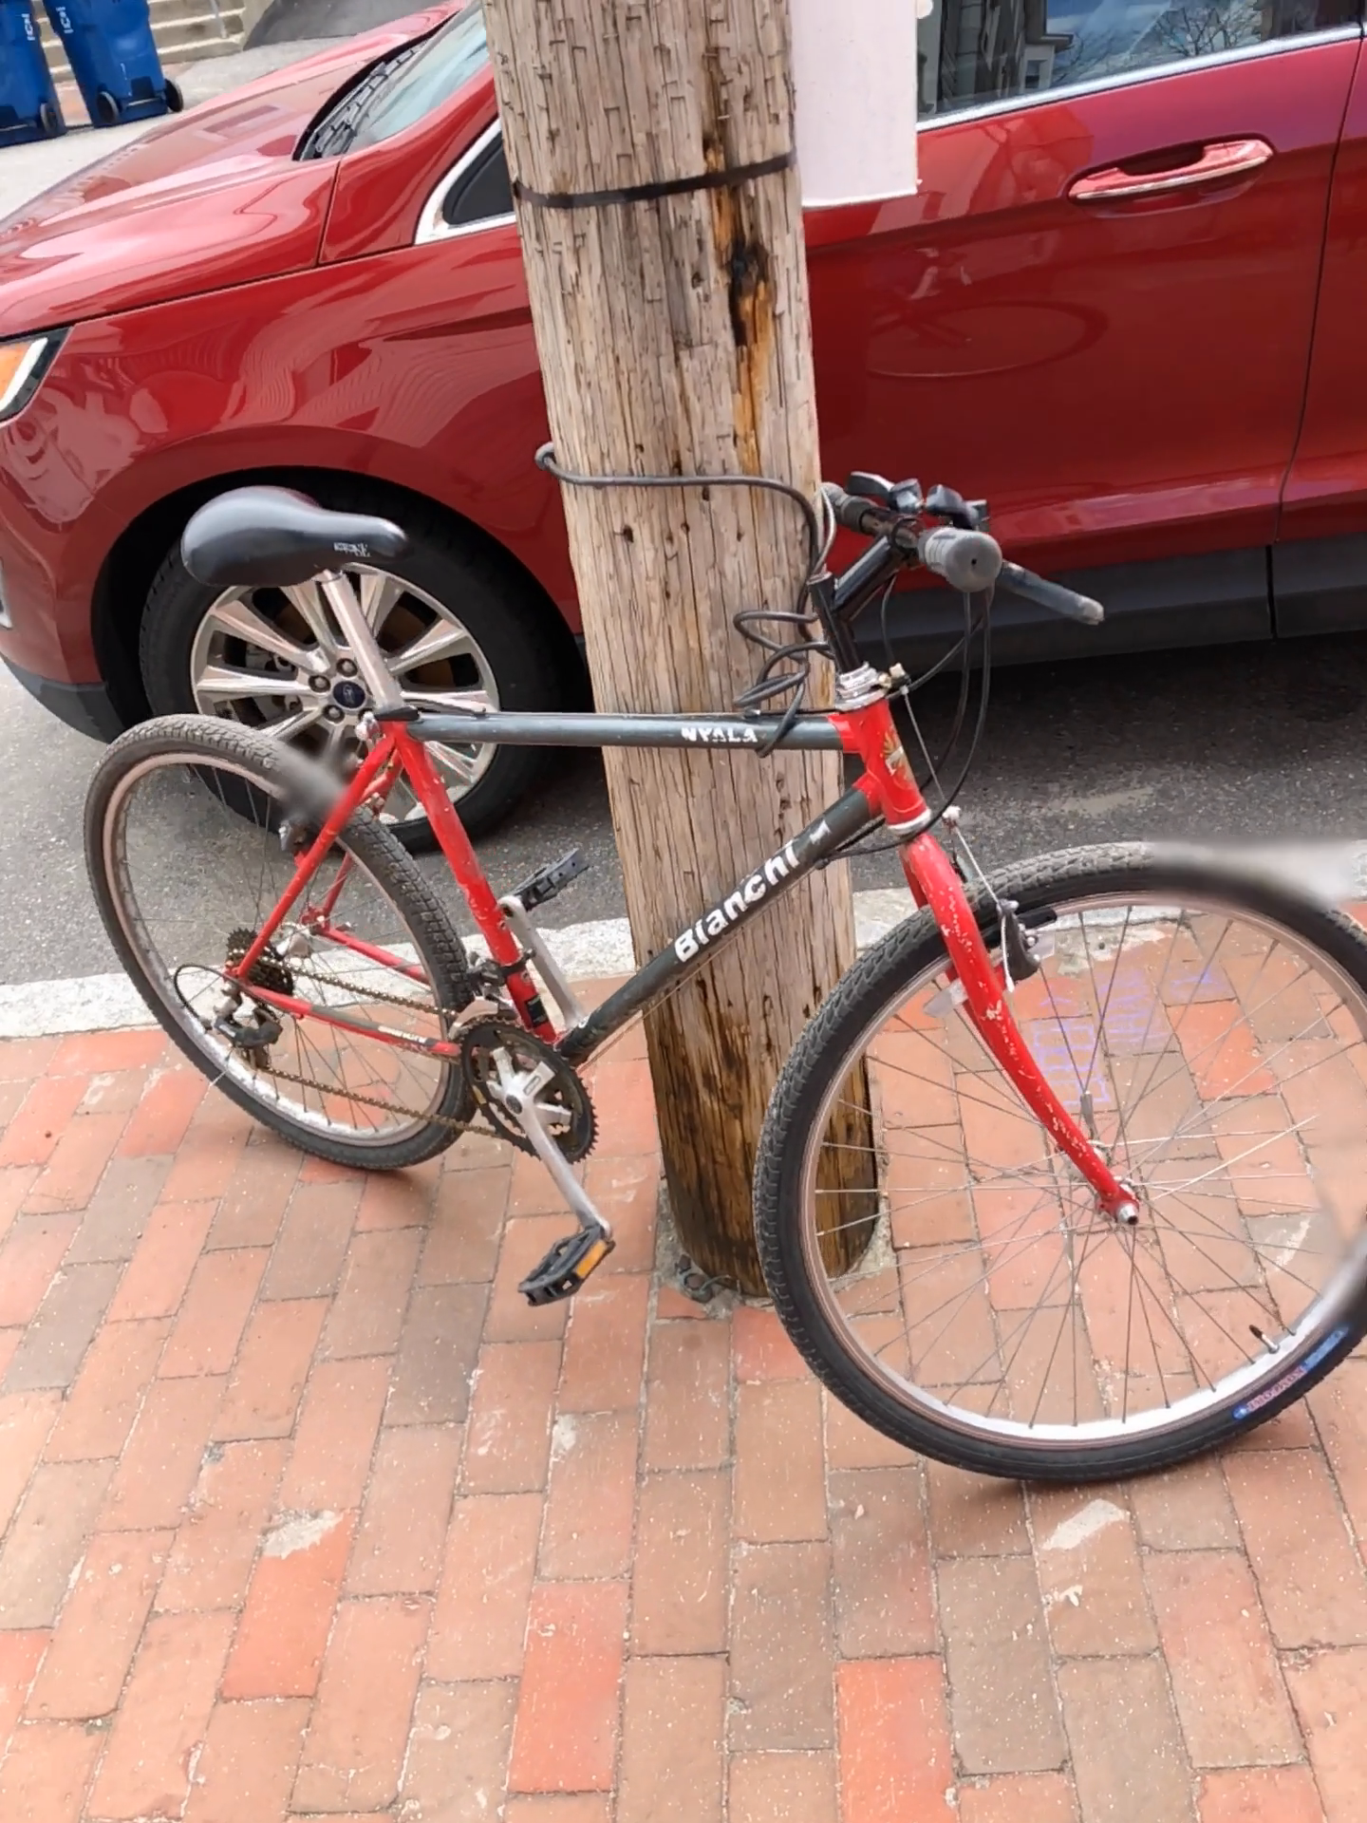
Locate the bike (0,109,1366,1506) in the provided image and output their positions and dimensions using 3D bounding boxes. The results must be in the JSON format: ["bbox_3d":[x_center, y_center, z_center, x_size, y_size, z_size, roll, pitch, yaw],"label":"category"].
[{"bbox_3d":[-0.076,-0.105,1.532,1.526,0.983,0.583,6,37,25],"label":"bike"}]
